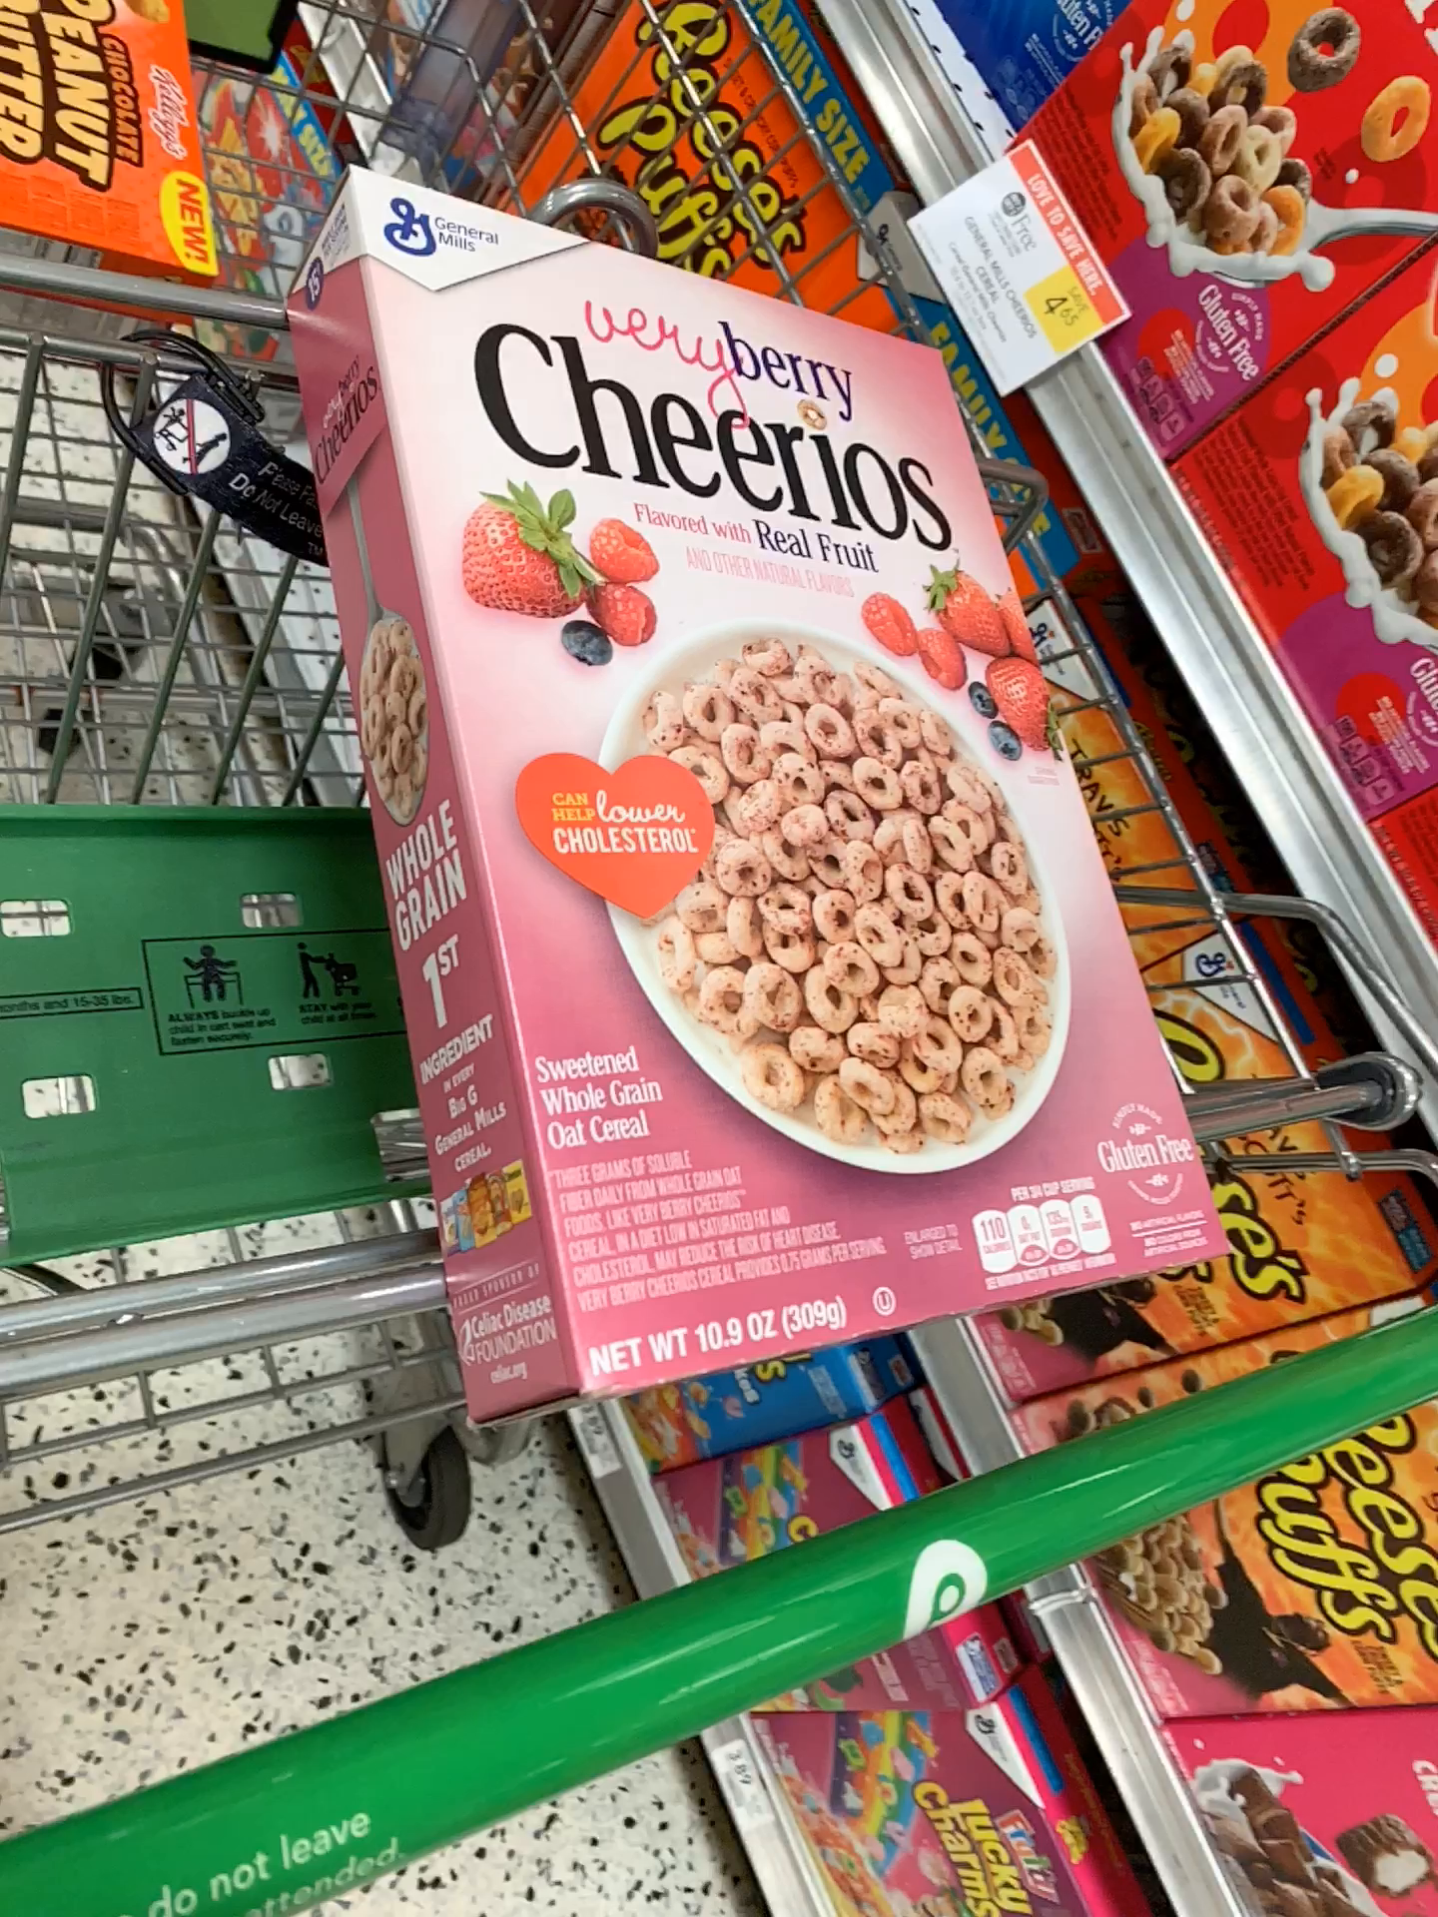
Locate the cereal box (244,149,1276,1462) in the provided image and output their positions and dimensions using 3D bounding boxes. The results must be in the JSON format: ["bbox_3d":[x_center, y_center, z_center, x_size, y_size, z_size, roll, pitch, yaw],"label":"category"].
[{"bbox_3d":[0.011,-0.042,0.379,0.211,0.060,0.281,-1,70,-36],"label":"cereal box"}]
